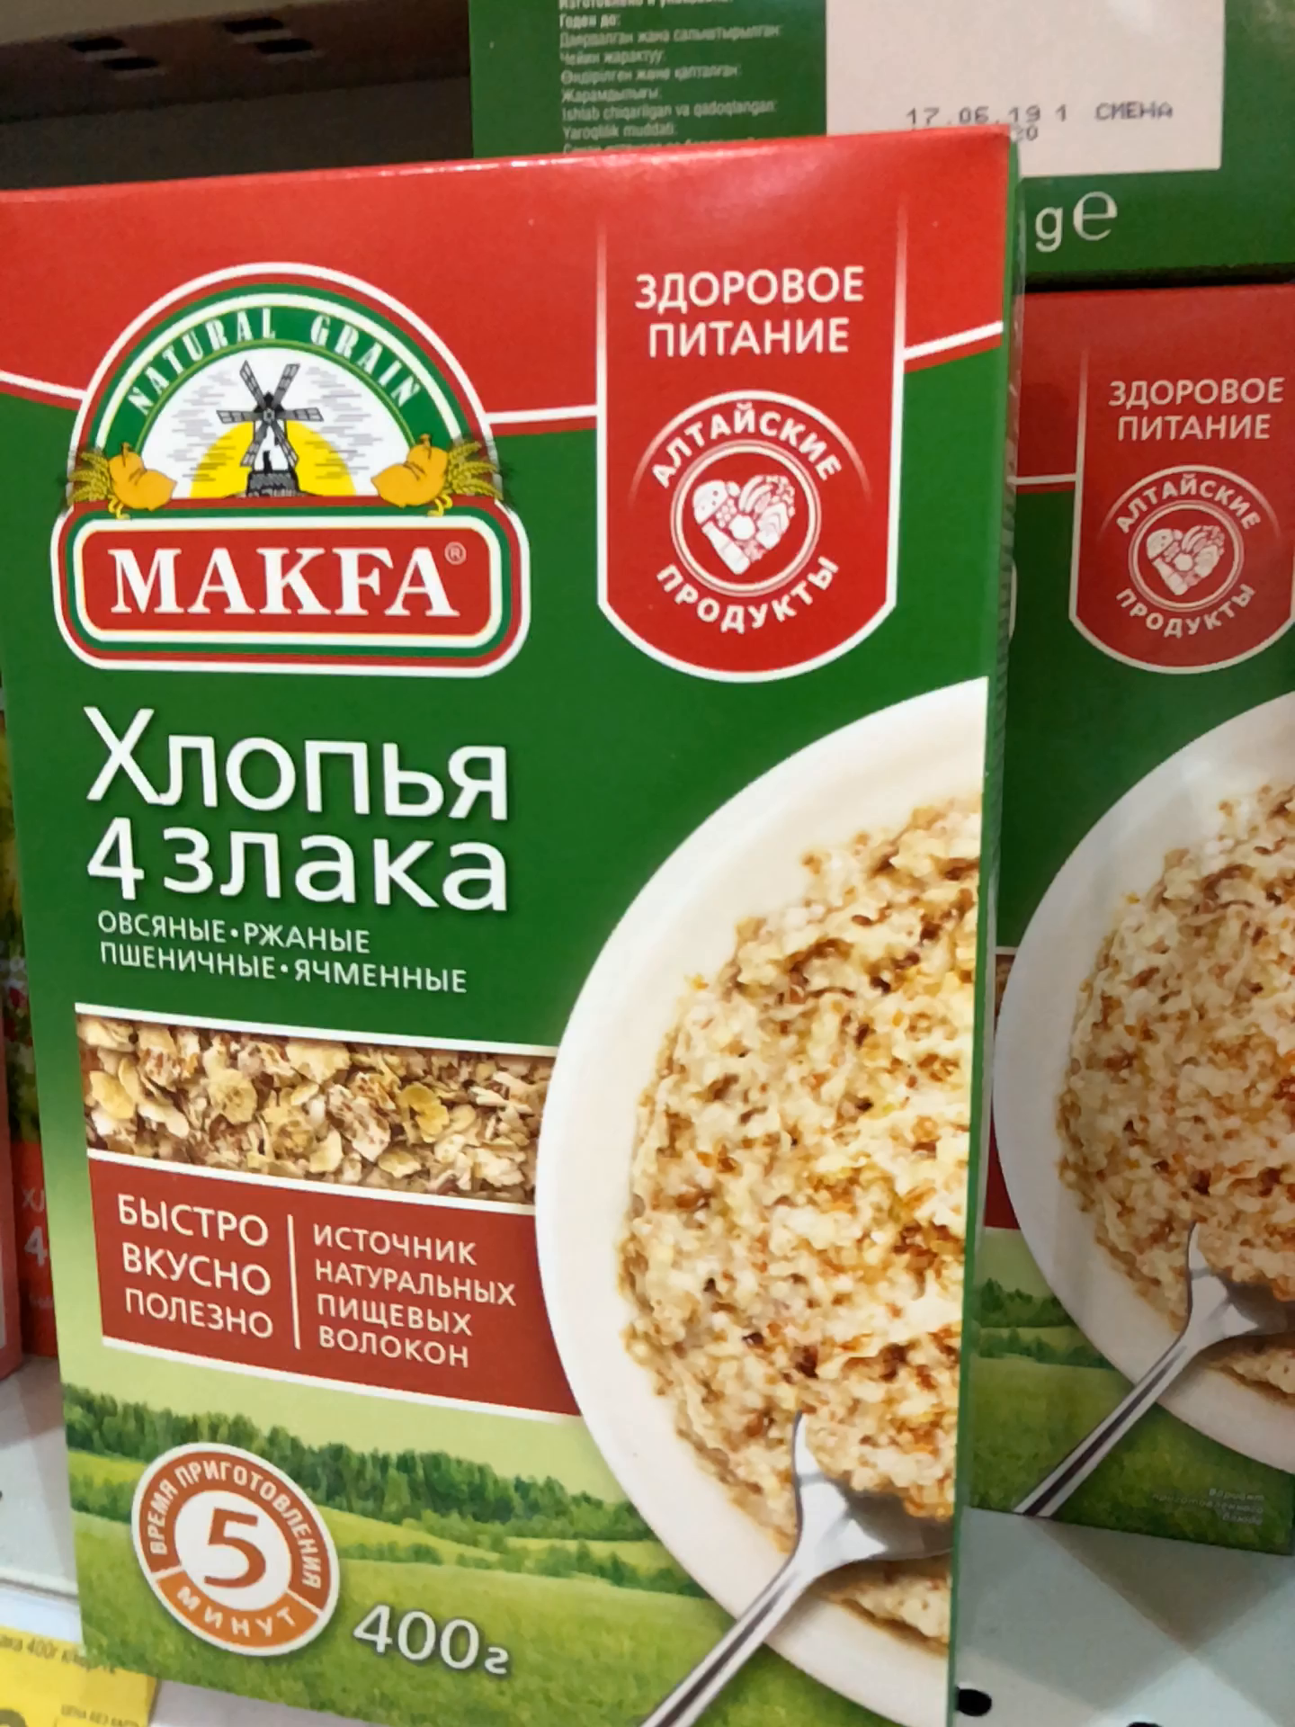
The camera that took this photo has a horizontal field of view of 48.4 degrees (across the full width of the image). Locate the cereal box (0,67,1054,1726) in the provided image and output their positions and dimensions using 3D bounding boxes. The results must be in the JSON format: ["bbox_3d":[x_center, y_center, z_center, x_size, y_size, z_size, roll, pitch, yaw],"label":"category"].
[{"bbox_3d":[-0.021,0.013,0.206,0.140,0.209,0.050,3,11,14],"label":"cereal box"}]
